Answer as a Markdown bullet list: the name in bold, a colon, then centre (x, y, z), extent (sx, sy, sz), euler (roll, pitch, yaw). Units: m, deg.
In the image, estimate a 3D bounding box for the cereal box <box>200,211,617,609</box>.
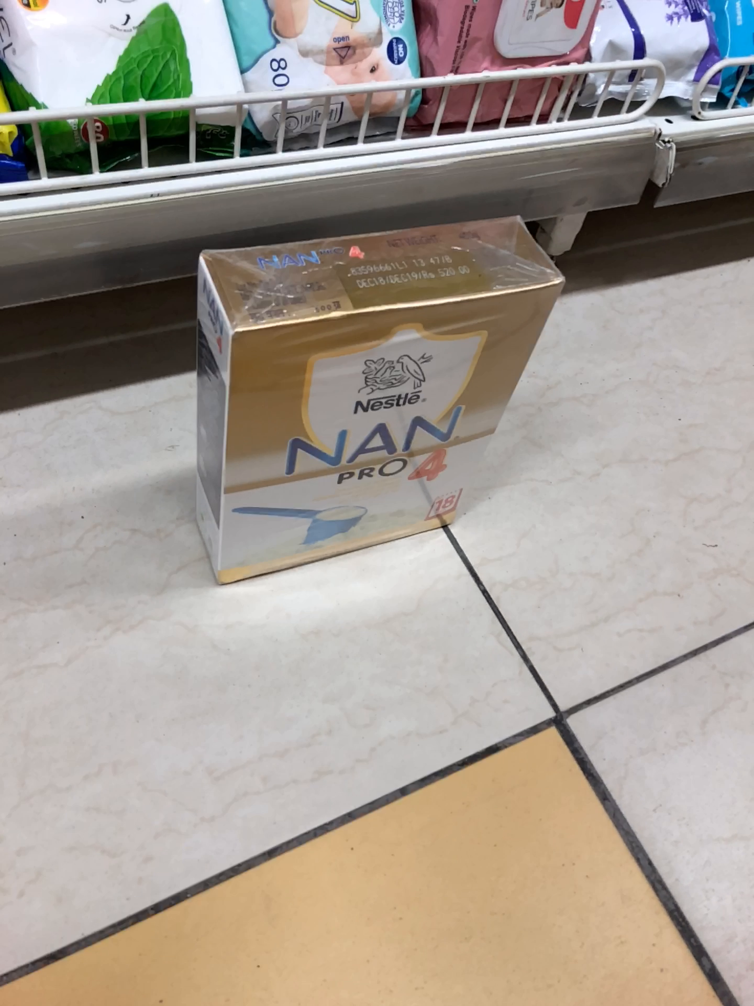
- **cereal box**: centre (0.001, -0.038, 0.404), extent (0.161, 0.189, 0.050), euler (-14, 59, -22)
